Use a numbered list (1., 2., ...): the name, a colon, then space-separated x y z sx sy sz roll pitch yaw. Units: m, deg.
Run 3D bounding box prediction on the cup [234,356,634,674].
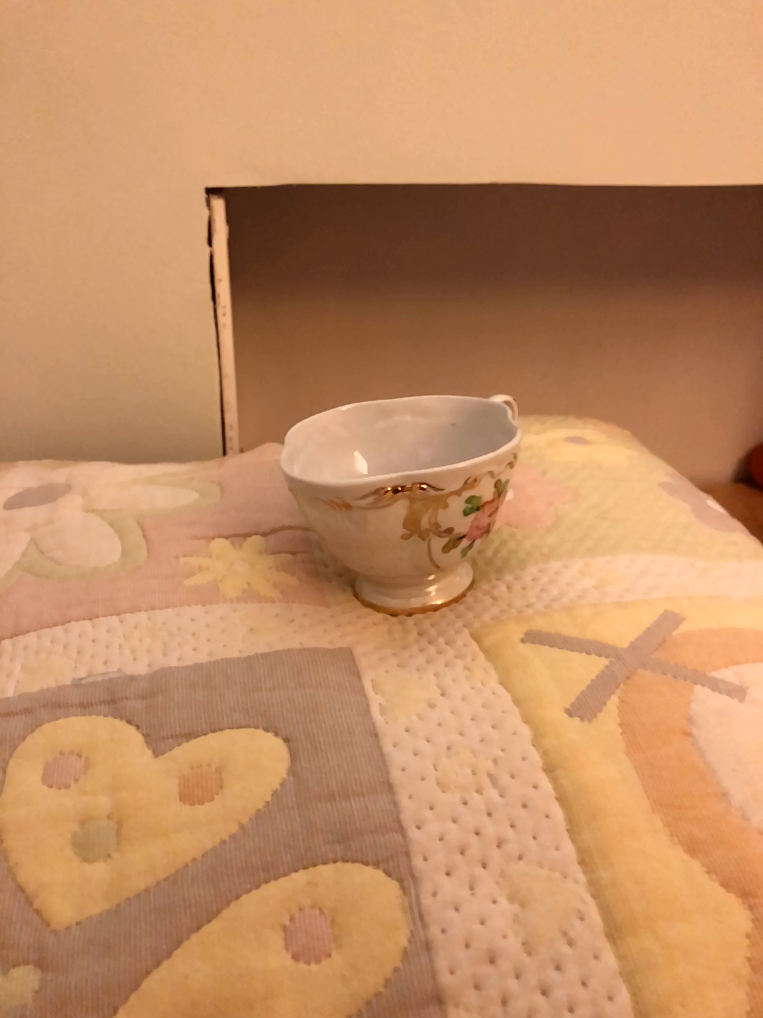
1. cup: 0.029 -0.010 0.356 0.100 0.070 0.141 12 30 37
